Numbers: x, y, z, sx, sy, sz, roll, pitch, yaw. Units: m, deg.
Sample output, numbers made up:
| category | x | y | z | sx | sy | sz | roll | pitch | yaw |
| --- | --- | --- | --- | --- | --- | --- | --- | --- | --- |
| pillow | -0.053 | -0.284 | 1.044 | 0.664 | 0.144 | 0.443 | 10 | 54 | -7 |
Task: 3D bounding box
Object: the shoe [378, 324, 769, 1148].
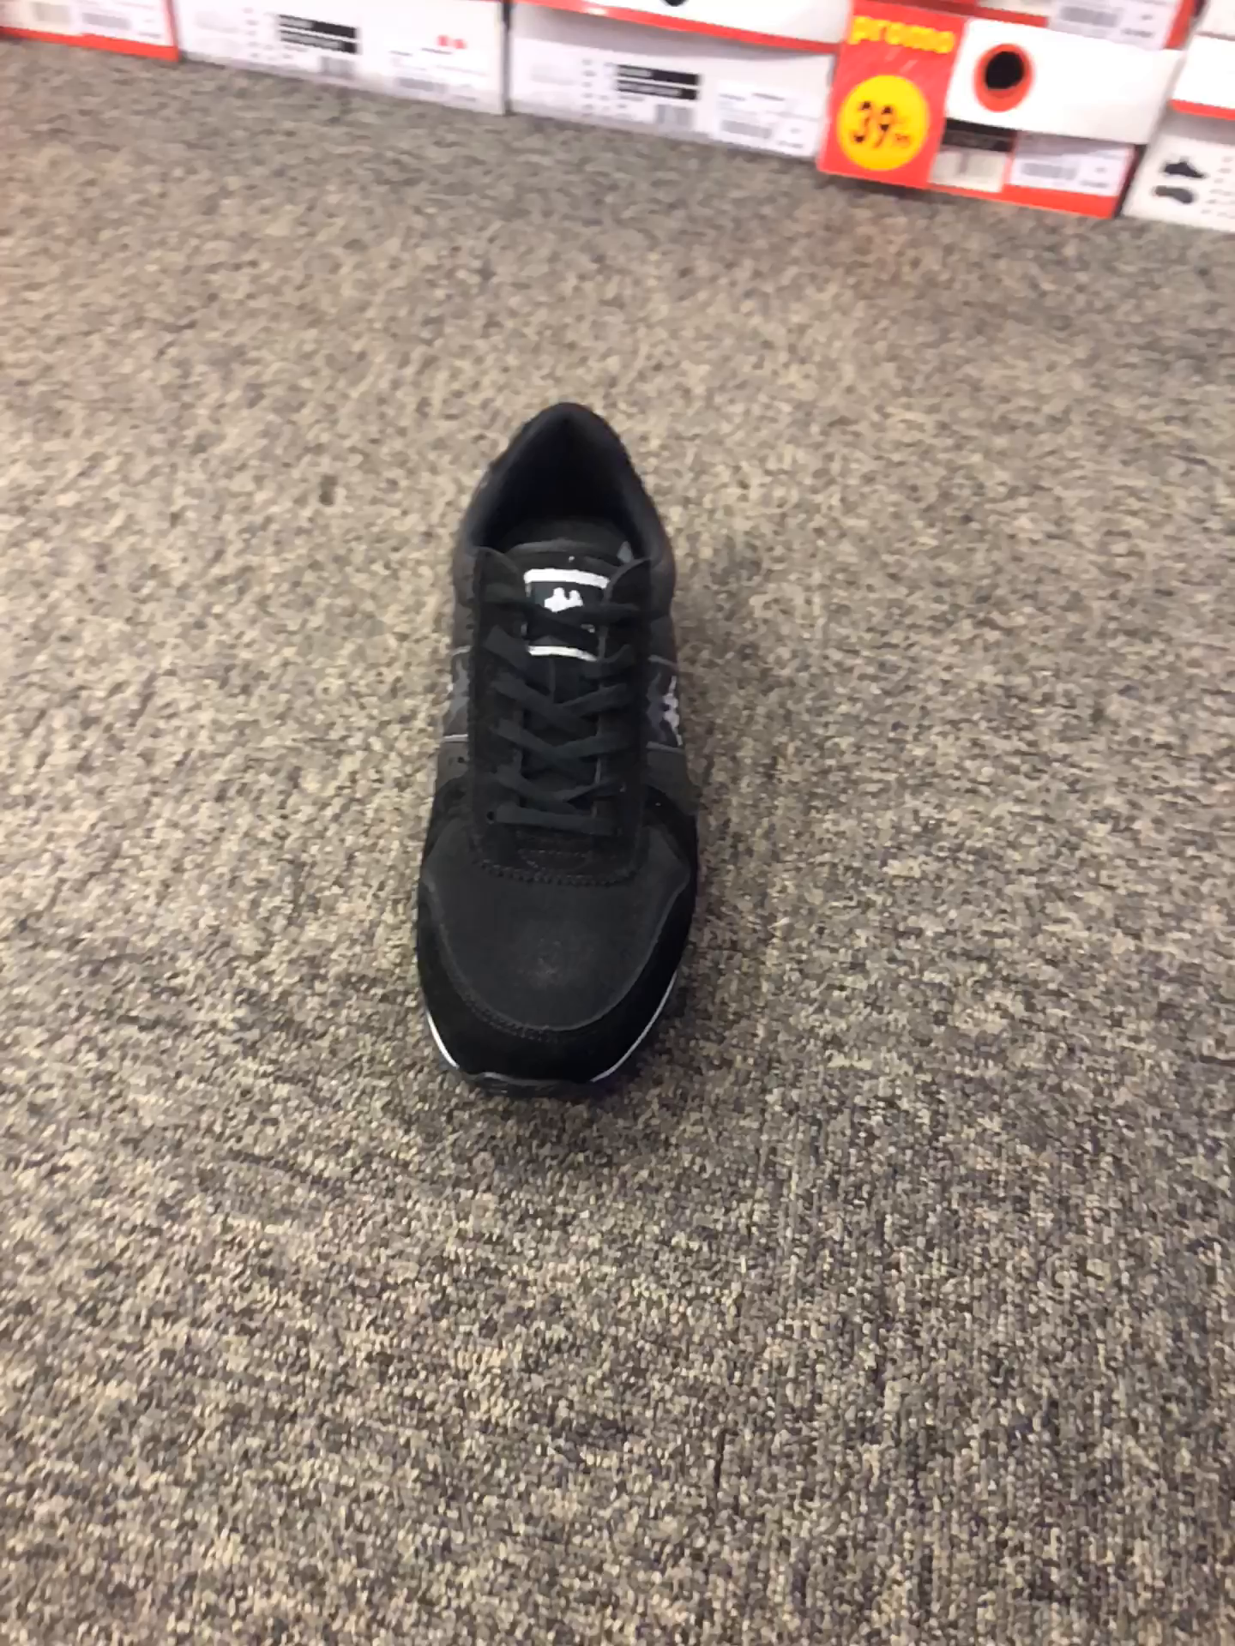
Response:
| category | x | y | z | sx | sy | sz | roll | pitch | yaw |
| --- | --- | --- | --- | --- | --- | --- | --- | --- | --- |
| shoe | -0.008 | -0.041 | 0.462 | 0.100 | 0.090 | 0.275 | 4 | 56 | -2 |
